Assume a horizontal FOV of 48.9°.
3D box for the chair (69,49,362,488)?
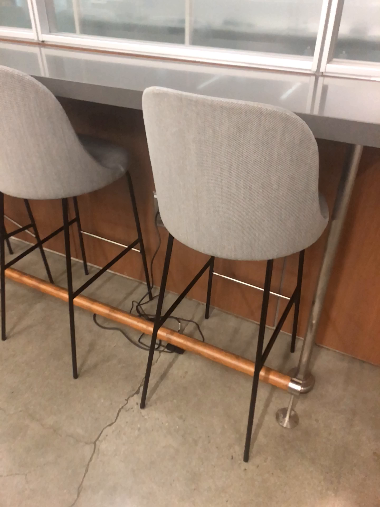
[{"bbox_3d":[0.098,0.060,1.339,0.490,1.180,0.595,18,38,24],"label":"chair"}]
